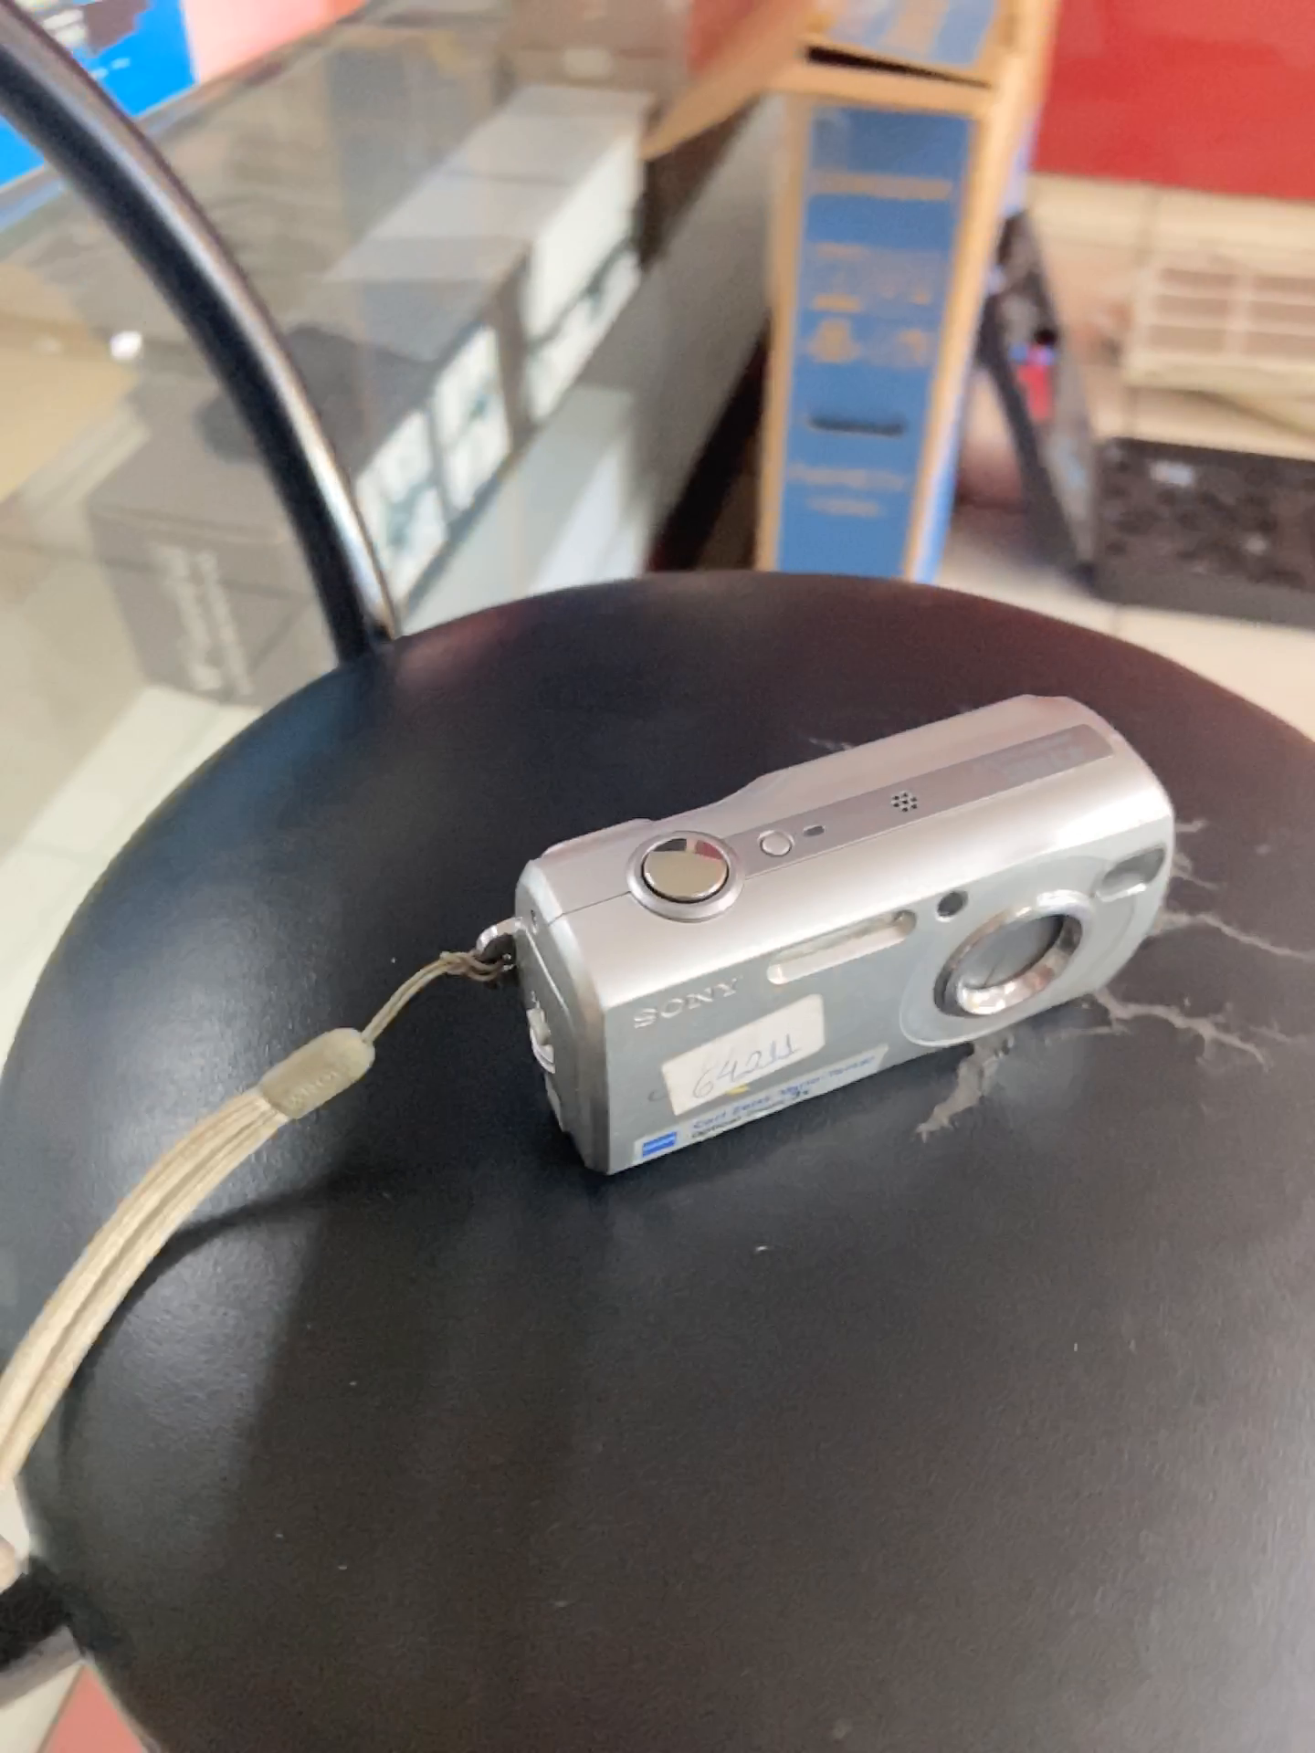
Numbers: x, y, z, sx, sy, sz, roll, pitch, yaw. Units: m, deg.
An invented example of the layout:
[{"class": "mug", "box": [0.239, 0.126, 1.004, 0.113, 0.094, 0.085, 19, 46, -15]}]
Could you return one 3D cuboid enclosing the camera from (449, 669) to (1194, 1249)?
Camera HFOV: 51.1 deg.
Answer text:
[{"class": "camera", "box": [0.024, 0.011, 0.216, 0.100, 0.050, 0.040, -17, 48, -16]}]
